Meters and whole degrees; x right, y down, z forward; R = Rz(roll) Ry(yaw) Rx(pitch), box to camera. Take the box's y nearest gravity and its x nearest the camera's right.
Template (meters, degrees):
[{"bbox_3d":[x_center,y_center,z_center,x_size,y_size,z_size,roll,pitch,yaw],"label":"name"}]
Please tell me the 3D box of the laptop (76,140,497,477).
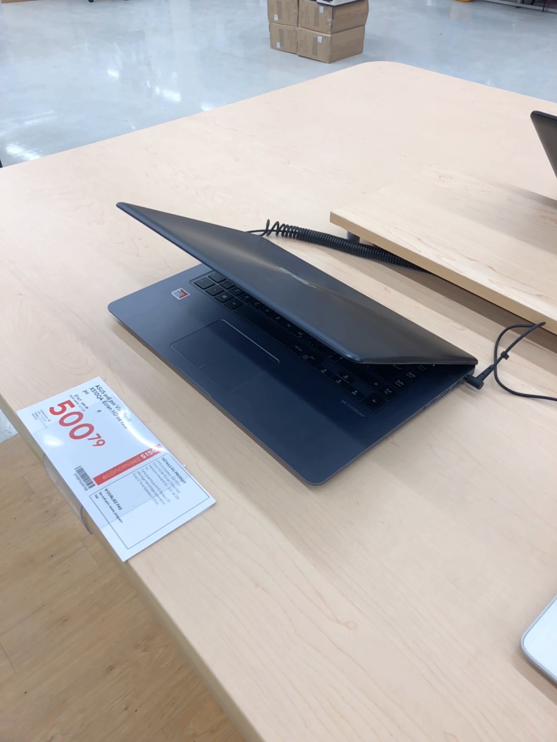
[{"bbox_3d":[-0.003,-0.095,0.640,0.232,0.136,0.346,-31,50,-30],"label":"laptop"}]
